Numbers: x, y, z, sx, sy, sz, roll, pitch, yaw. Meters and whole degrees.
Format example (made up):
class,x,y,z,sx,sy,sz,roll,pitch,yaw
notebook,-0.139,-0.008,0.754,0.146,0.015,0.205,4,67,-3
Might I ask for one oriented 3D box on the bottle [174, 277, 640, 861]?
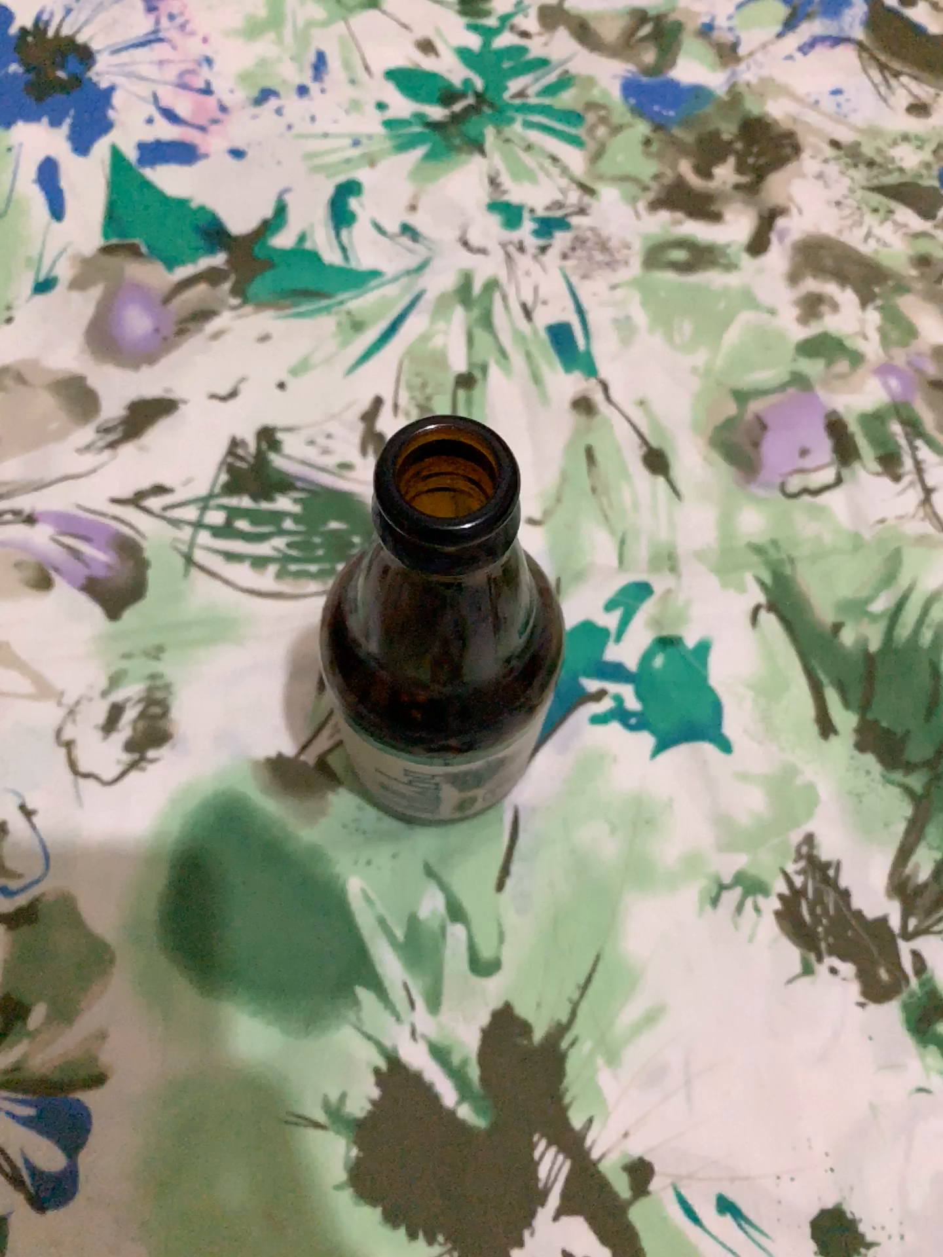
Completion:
class,x,y,z,sx,sy,sz,roll,pitch,yaw
bottle,-0.011,0.006,0.246,0.070,0.180,0.070,1,68,-2
